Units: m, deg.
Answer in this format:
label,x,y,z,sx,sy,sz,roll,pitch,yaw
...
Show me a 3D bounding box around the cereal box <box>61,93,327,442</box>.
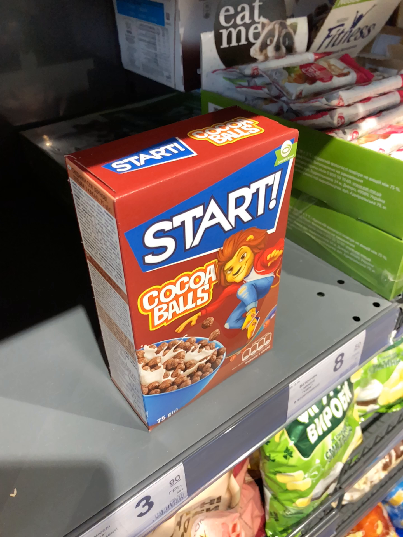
label,x,y,z,sx,sy,sz,roll,pitch,yaw
cereal box,-0.002,0.003,0.263,0.110,0.169,0.060,-27,47,-29
